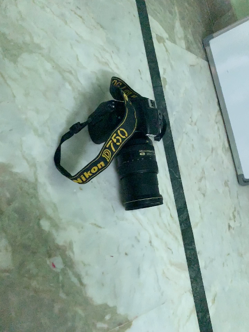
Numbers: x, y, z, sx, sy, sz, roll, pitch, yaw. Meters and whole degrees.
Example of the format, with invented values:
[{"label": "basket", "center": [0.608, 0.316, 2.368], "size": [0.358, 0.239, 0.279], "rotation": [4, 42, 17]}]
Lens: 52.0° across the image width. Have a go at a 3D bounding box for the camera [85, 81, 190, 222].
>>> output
[{"label": "camera", "center": [0.022, -0.021, 0.501], "size": [0.140, 0.099, 0.232], "rotation": [2, 73, -41]}]
